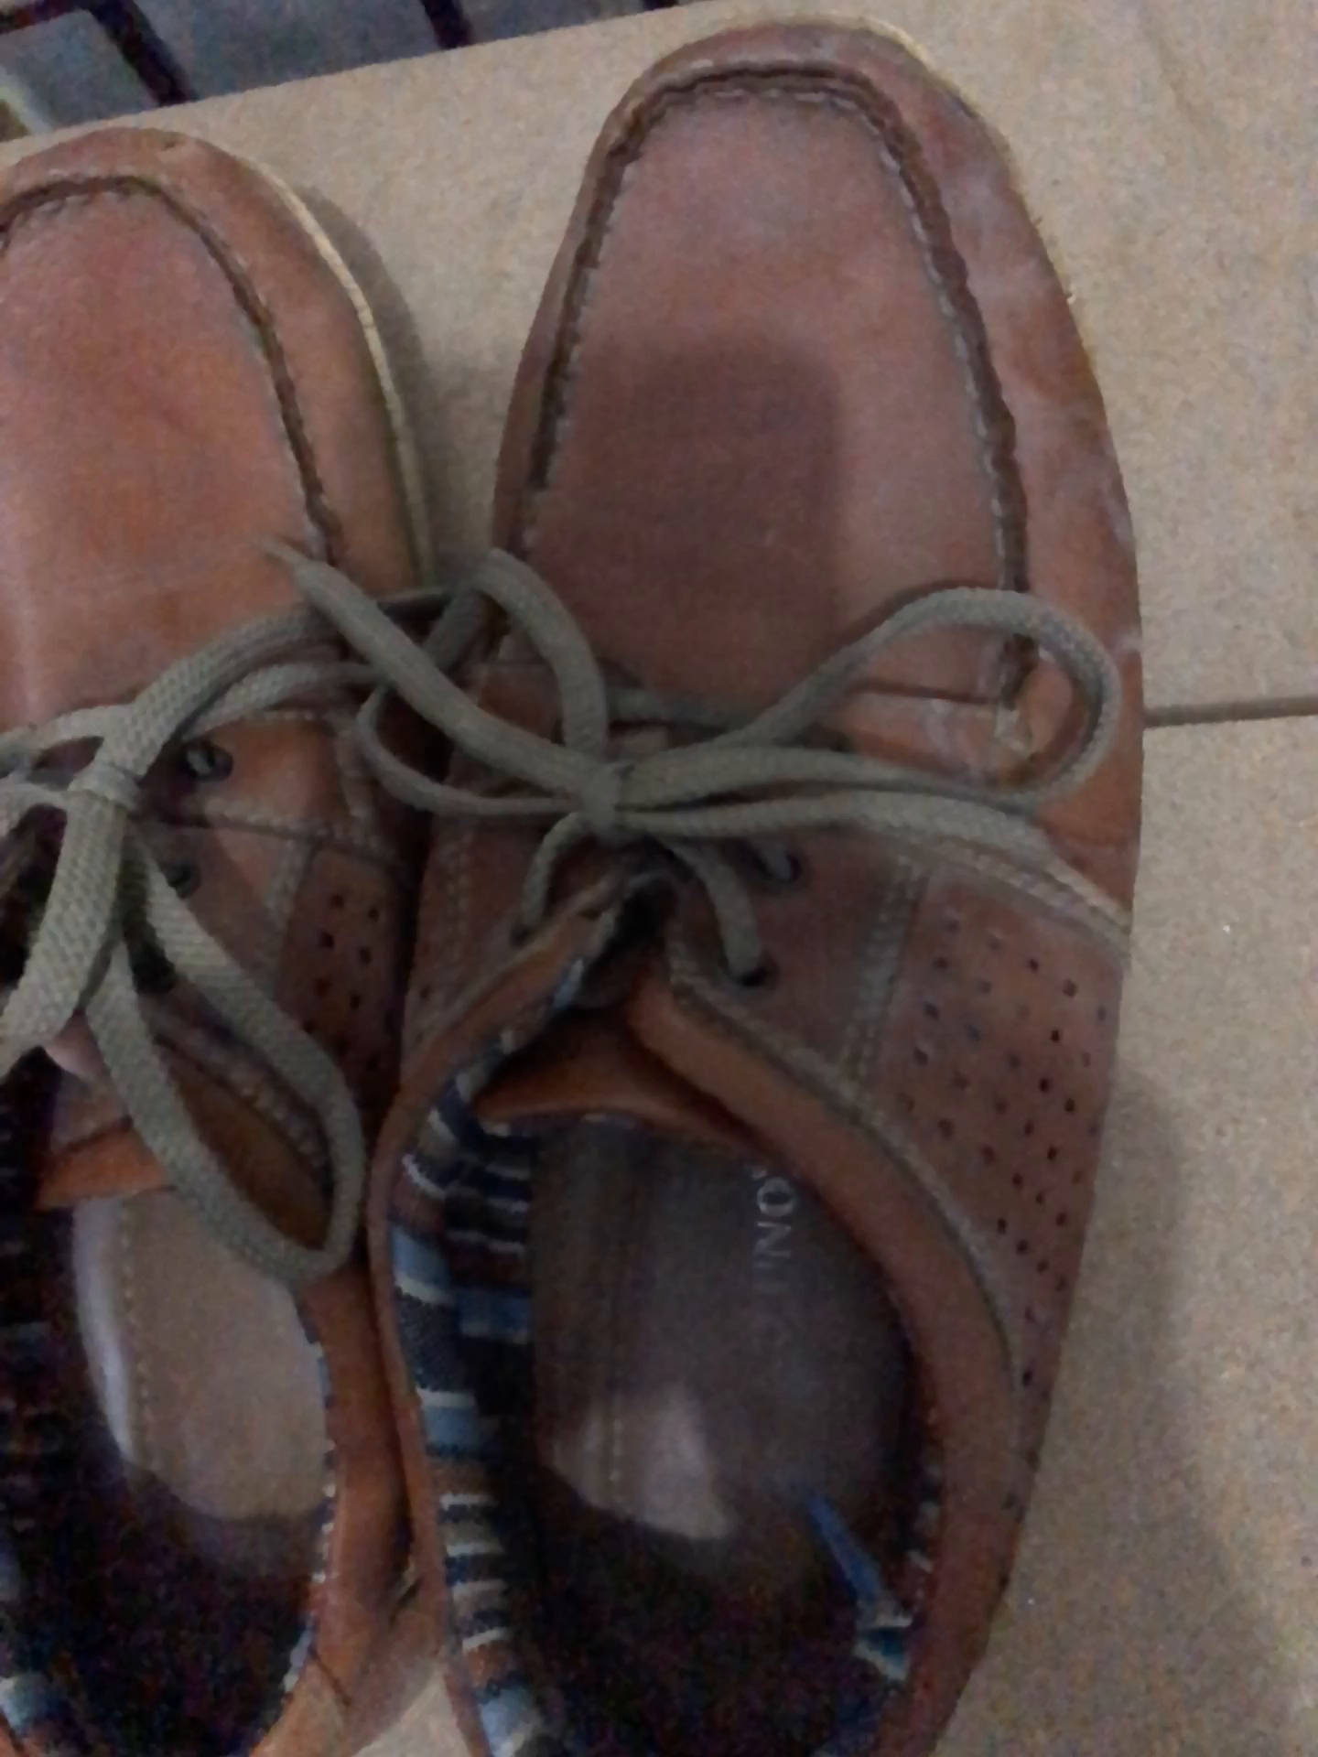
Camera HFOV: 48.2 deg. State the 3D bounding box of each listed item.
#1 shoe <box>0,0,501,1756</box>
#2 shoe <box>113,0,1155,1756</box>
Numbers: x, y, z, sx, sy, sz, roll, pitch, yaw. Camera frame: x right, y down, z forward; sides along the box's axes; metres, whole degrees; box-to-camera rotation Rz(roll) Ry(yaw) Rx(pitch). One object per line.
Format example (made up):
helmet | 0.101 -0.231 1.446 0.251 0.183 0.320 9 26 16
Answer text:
shoe | -0.102 -0.004 0.244 0.100 0.100 0.287 -8 78 19
shoe | 0.011 -0.009 0.207 0.100 0.100 0.280 -2 79 20
